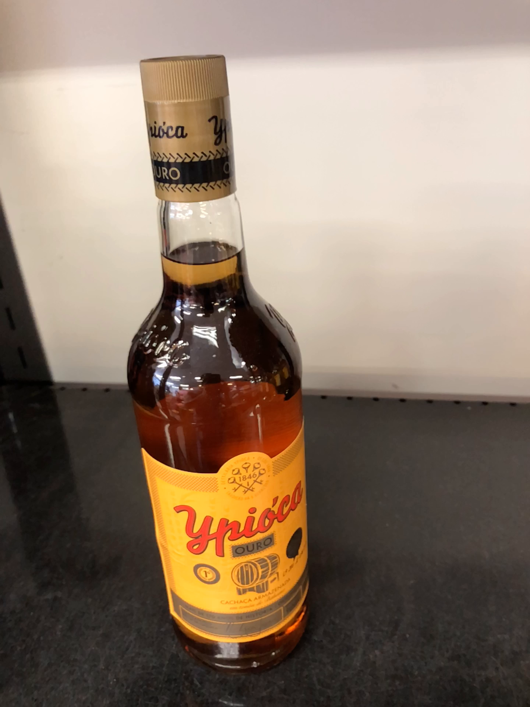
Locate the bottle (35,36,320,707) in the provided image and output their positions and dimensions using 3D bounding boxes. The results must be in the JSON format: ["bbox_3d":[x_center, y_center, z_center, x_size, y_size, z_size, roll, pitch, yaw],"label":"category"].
[{"bbox_3d":[-0.026,0.033,0.271,0.080,0.308,0.070,-12,31,-15],"label":"bottle"}]
